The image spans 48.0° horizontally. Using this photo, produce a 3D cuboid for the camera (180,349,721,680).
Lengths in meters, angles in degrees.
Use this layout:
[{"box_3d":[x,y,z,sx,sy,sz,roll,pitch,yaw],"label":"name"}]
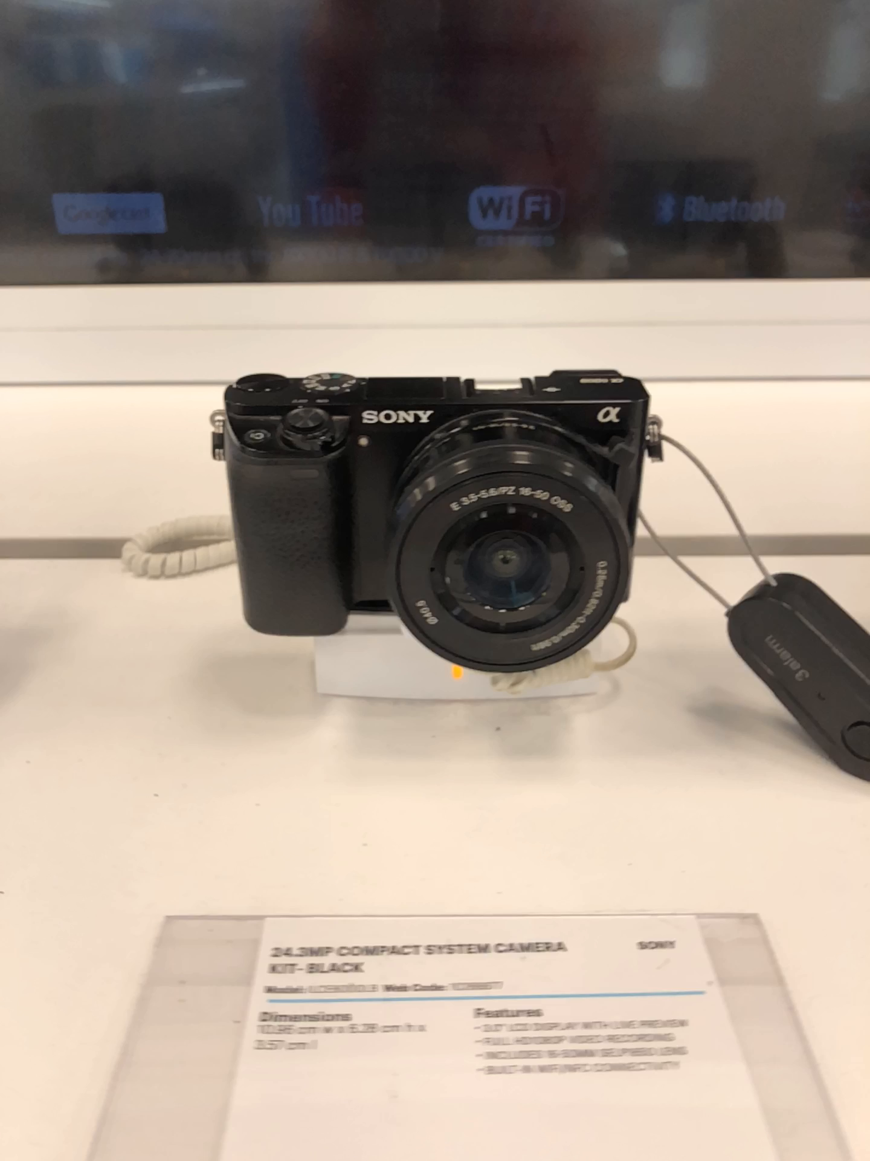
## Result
[{"box_3d":[0.004,-0.022,0.282,0.130,0.070,0.070,-1,28,-1],"label":"camera"}]
